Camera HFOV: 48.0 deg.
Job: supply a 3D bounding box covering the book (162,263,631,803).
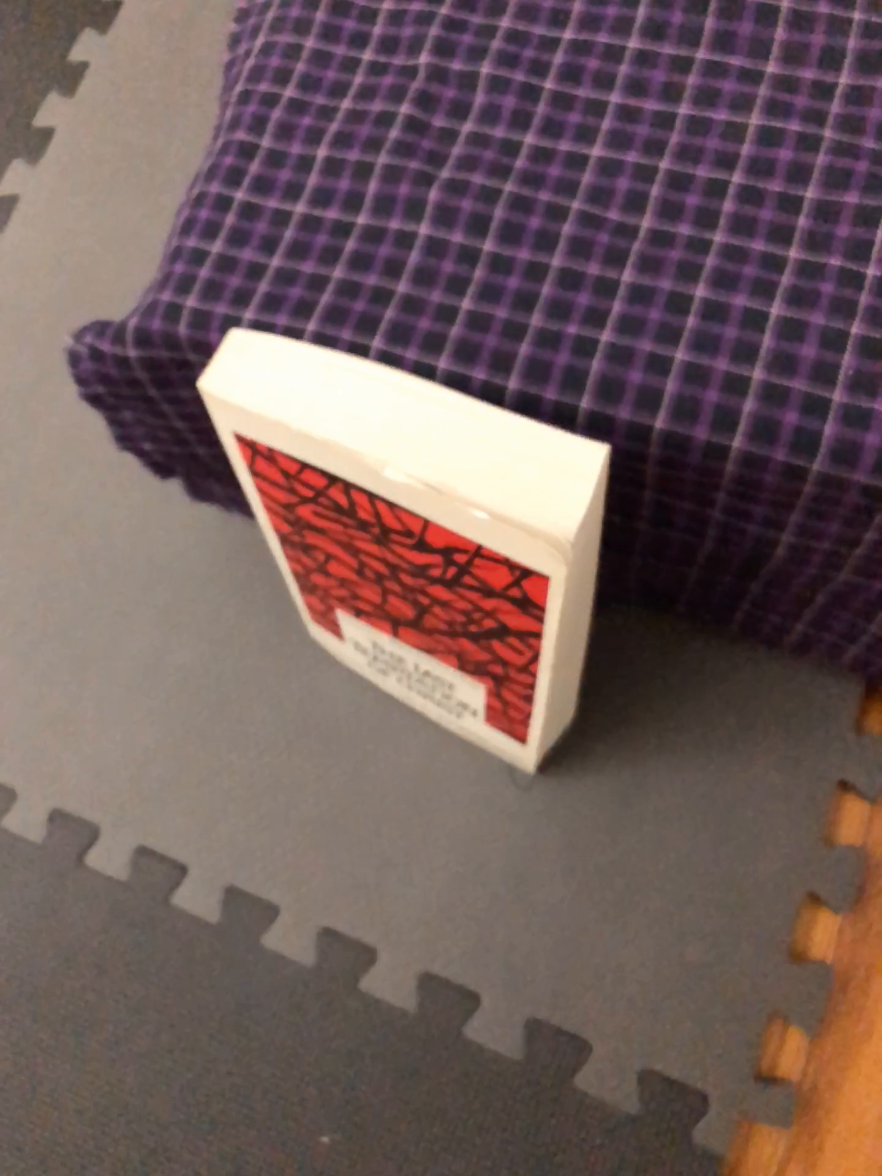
[{"bbox_3d":[-0.007,-0.007,0.398,0.150,0.209,0.050,34,71,22],"label":"book"}]
